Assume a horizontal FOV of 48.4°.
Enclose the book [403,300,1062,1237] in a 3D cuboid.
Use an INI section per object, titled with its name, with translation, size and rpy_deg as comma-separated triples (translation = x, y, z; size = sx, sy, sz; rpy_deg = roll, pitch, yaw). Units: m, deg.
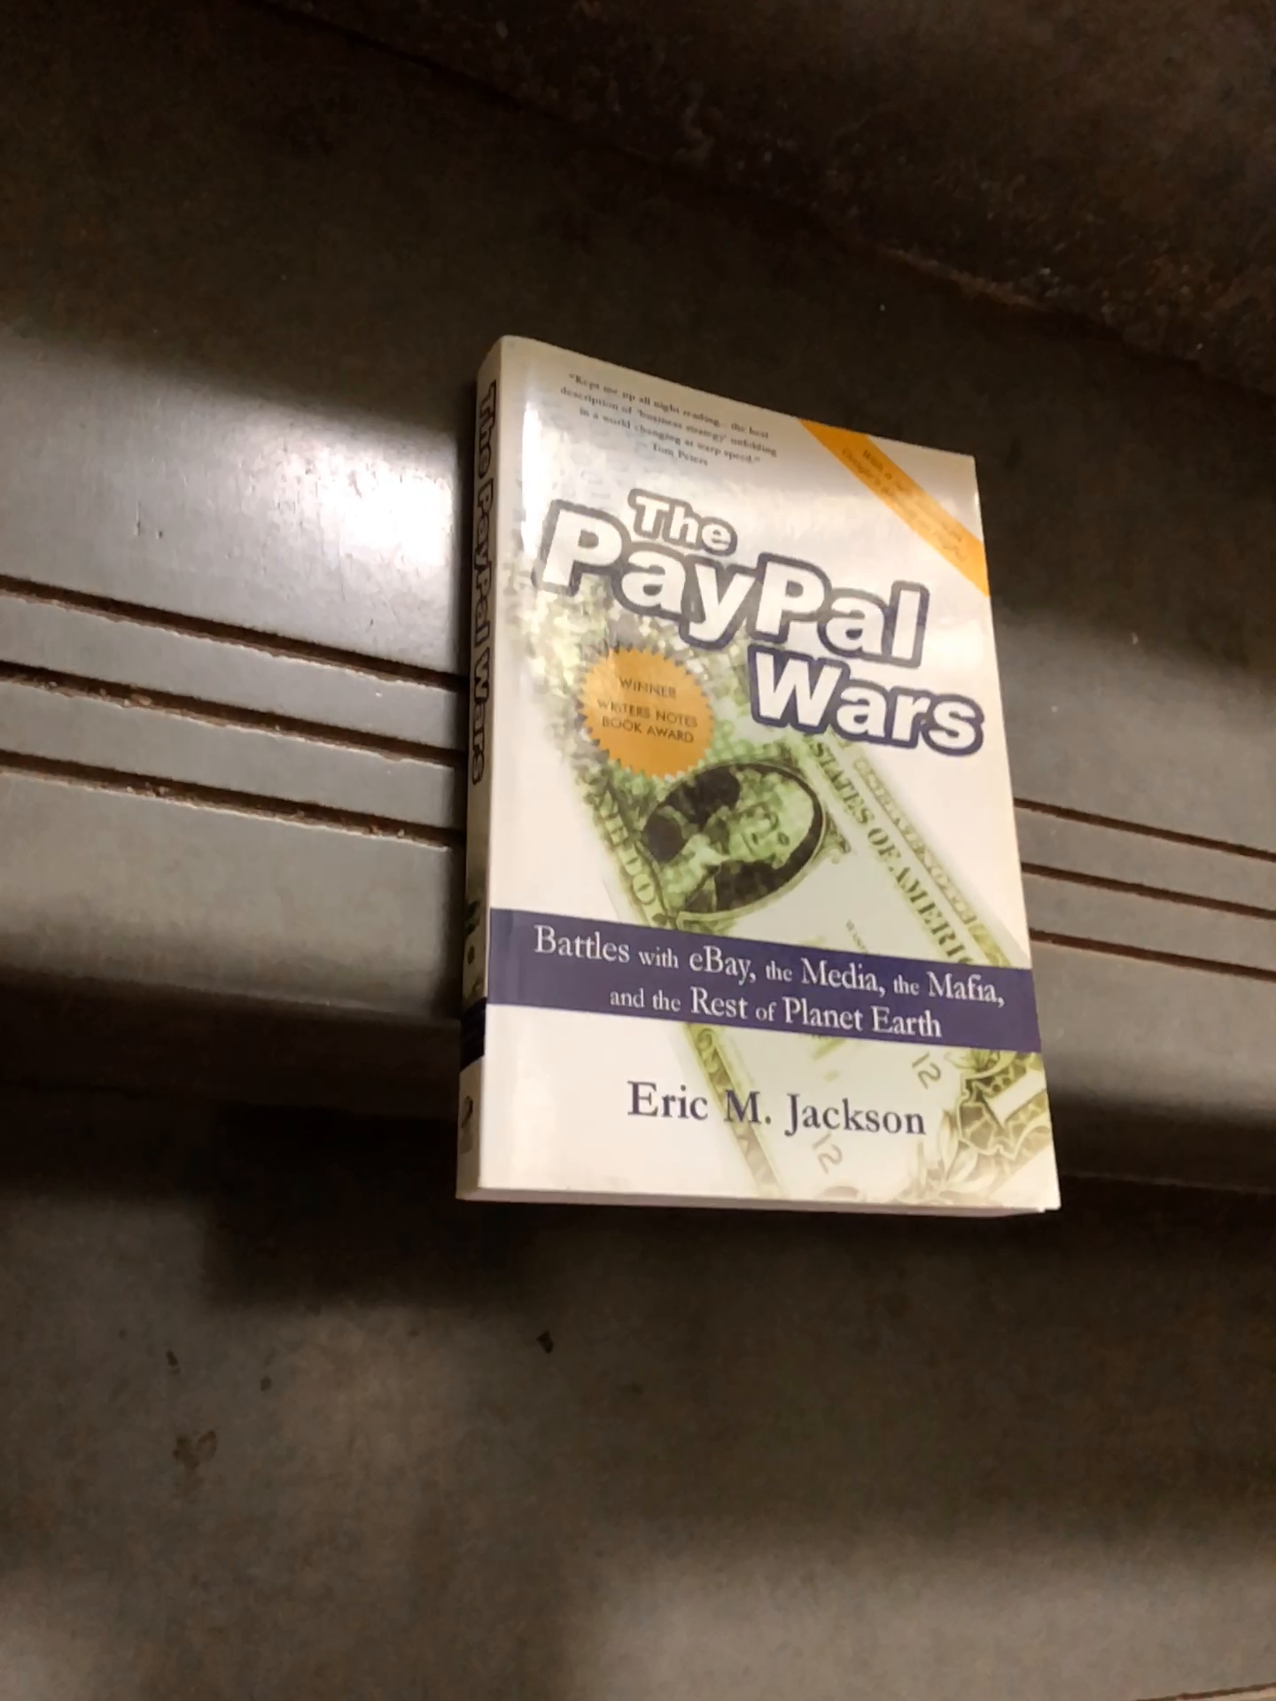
[book]
translation = 0.023, -0.019, 0.356
size = 0.150, 0.030, 0.220
rpy_deg = 8, 68, -23
